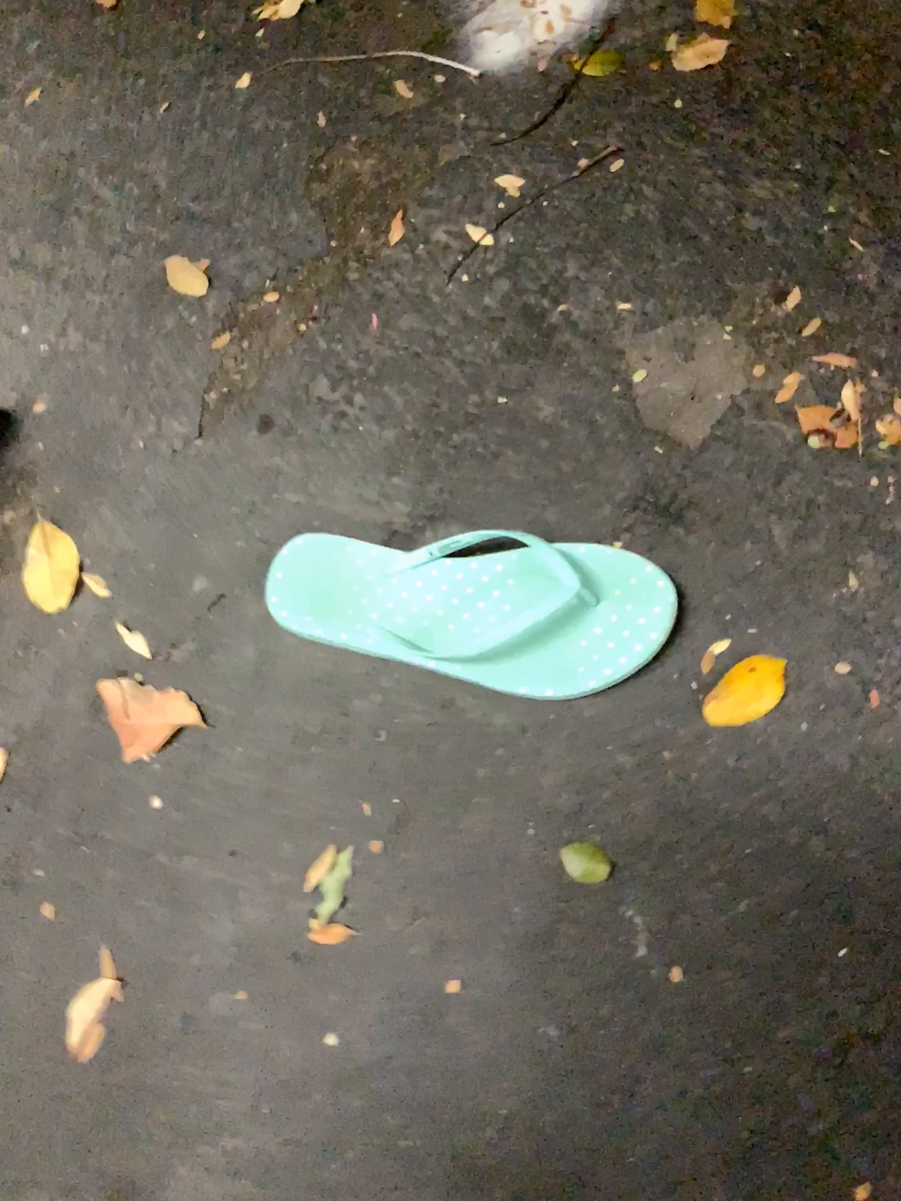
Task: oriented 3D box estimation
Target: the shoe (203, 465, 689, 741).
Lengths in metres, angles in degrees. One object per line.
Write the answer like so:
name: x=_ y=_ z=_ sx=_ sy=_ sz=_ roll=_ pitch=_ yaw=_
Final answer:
shoe: x=-0.002 y=-0.001 z=0.633 sx=0.280 sy=0.050 sz=0.120 roll=10 pitch=73 yaw=10
